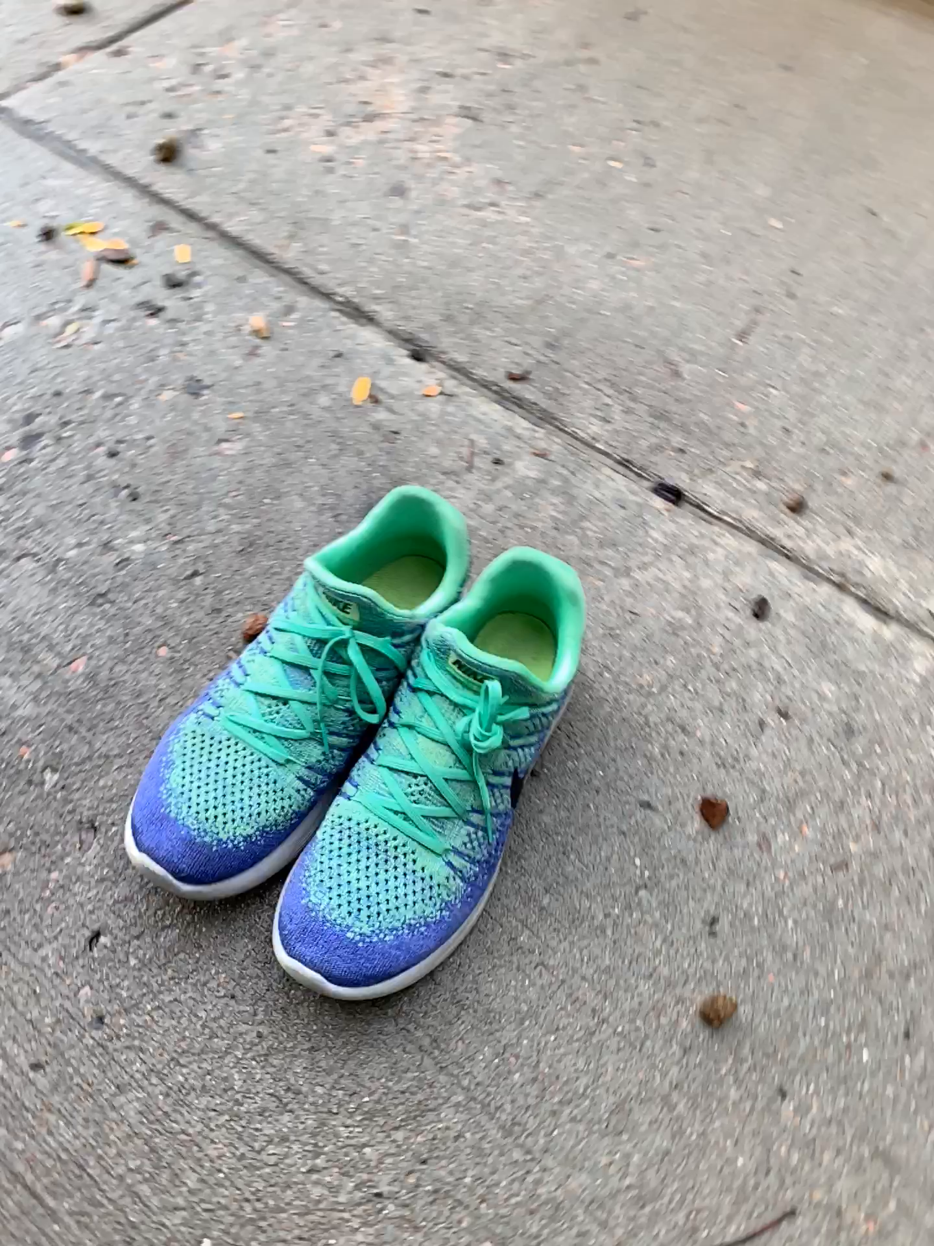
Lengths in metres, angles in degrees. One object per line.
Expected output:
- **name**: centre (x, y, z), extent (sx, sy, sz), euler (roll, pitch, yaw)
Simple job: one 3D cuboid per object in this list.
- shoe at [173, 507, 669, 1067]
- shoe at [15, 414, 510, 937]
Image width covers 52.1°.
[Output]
- **shoe**: centre (-0.015, 0.089, 0.564), extent (0.120, 0.110, 0.290), euler (32, 65, 14)
- **shoe**: centre (-0.100, 0.026, 0.543), extent (0.100, 0.110, 0.270), euler (34, 65, 9)
